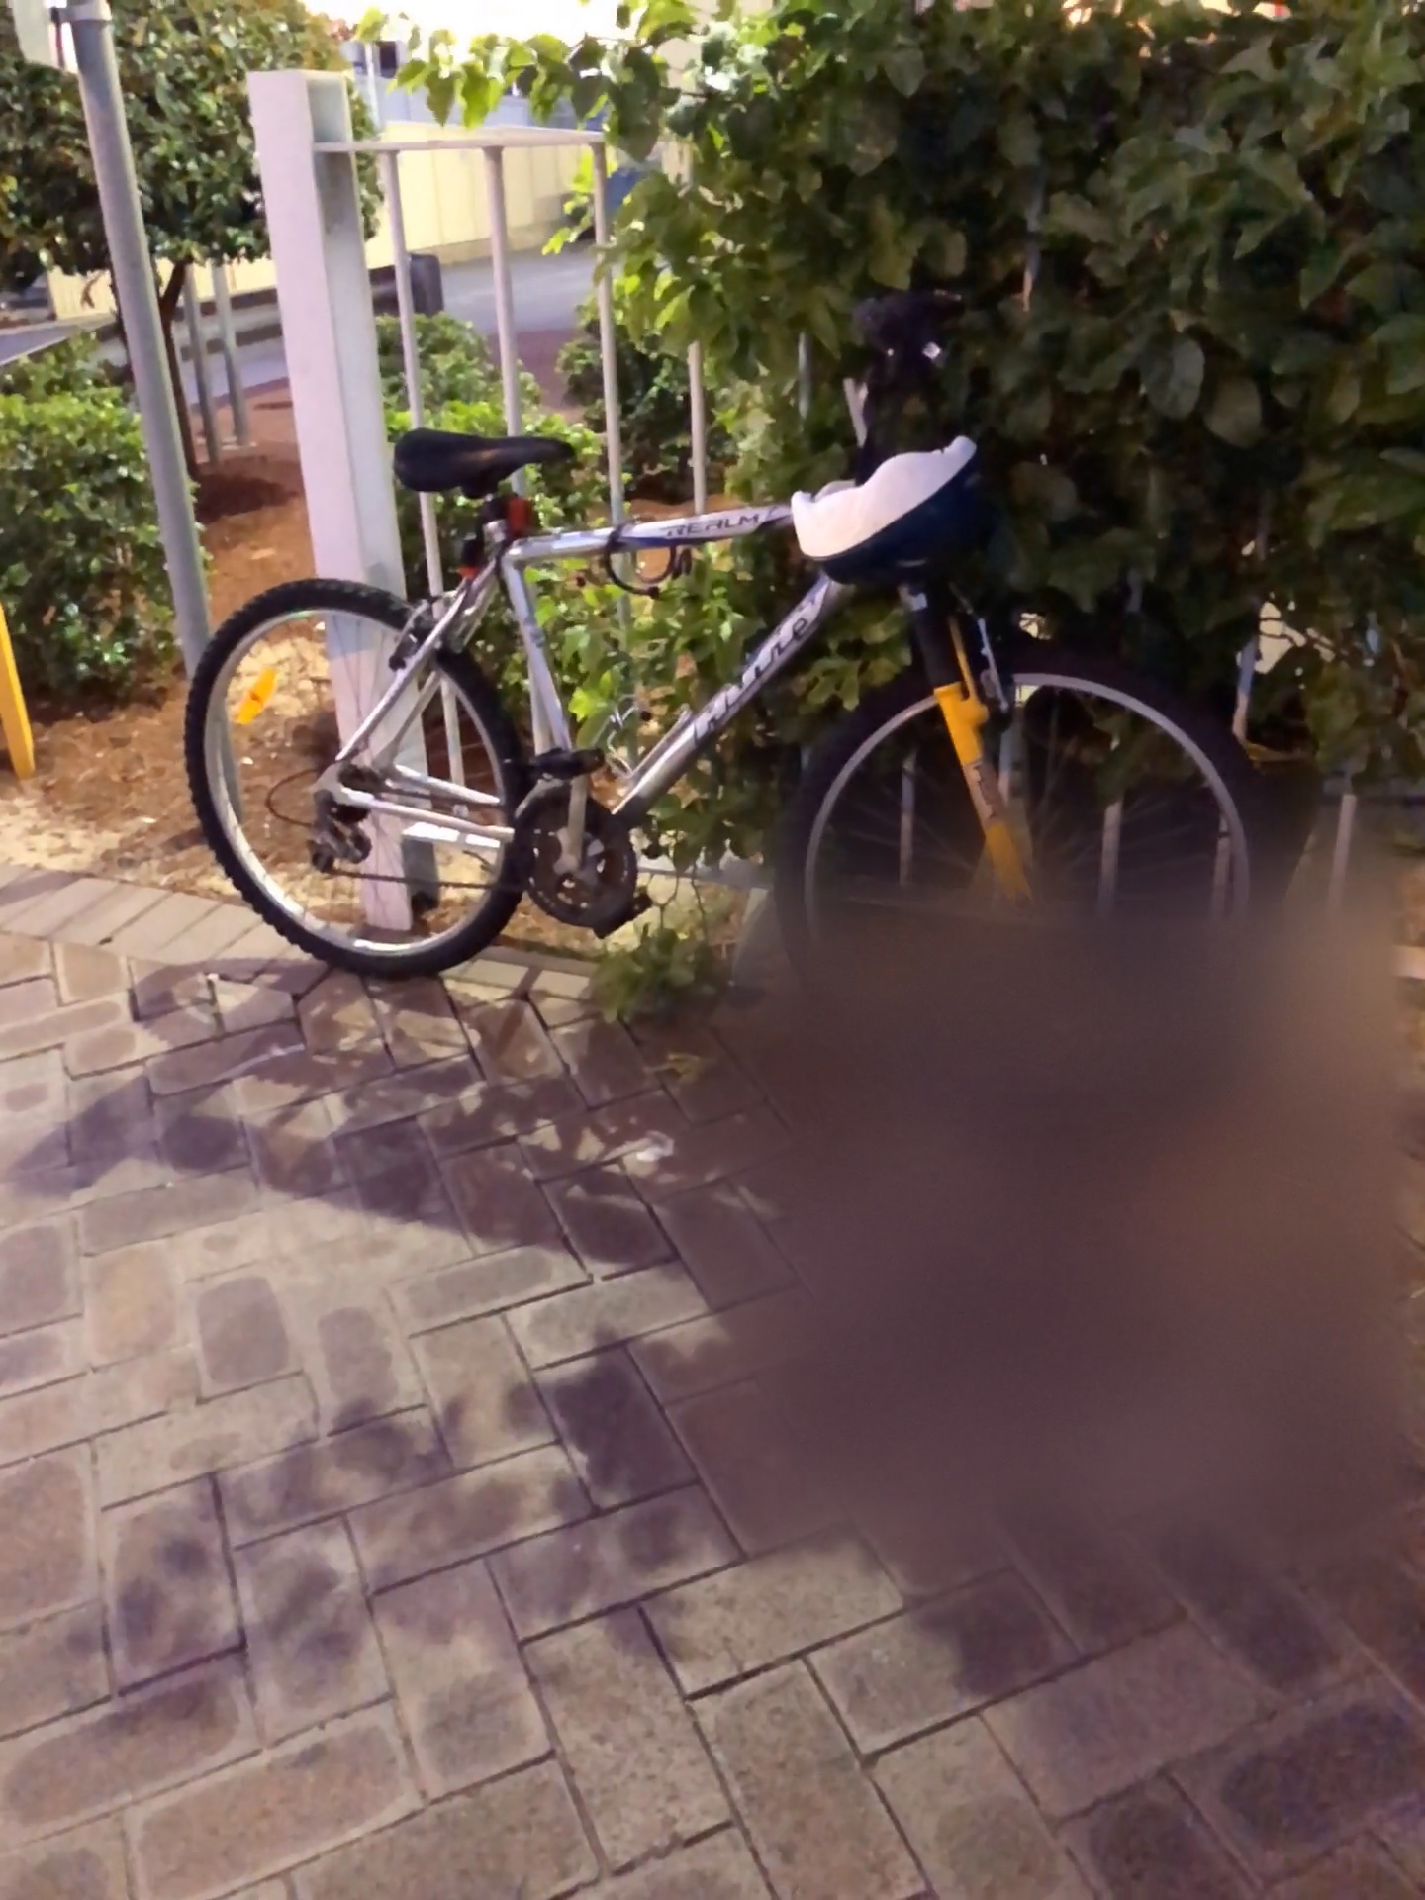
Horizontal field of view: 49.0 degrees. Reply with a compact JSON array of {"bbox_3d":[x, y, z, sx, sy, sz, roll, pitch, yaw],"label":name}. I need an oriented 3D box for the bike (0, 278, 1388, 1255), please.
[{"bbox_3d":[-0.079,-0.342,2.118,1.693,0.995,0.554,9,28,21],"label":"bike"}]
